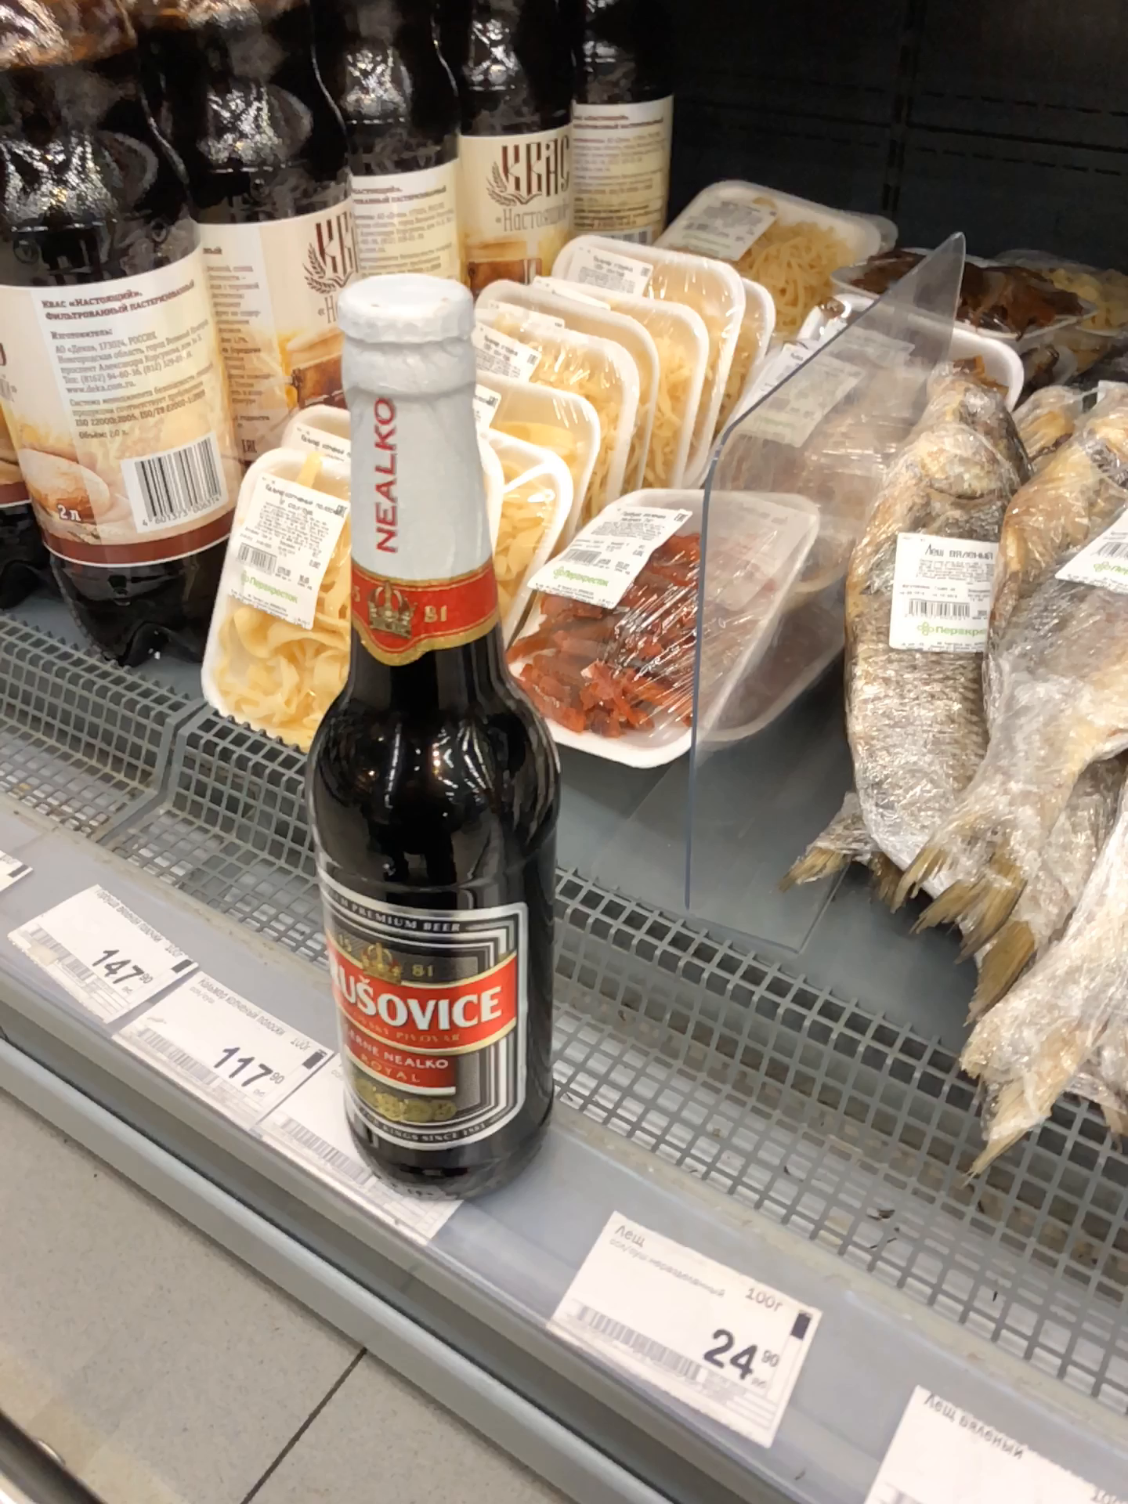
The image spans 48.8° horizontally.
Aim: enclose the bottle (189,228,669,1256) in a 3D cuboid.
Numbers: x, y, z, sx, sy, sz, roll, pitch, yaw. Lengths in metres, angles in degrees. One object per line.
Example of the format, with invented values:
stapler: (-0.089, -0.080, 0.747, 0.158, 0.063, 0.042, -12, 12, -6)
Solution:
bottle: (-0.027, 0.014, 0.333, 0.070, 0.268, 0.070, 1, 36, 0)
